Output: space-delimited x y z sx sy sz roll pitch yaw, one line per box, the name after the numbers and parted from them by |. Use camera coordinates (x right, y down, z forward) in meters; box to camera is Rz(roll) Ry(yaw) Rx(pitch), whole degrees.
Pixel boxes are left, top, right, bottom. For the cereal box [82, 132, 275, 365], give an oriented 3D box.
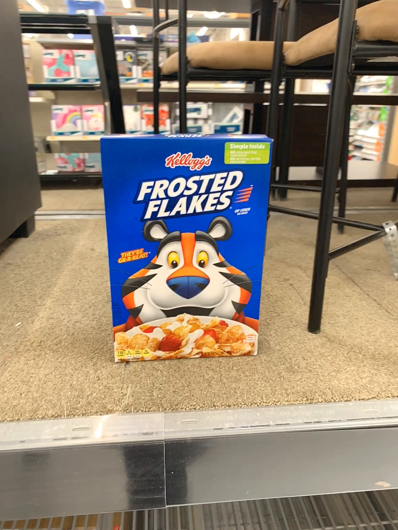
-0.025 -0.018 0.531 0.210 0.289 0.070 -1 21 -5 | cereal box
